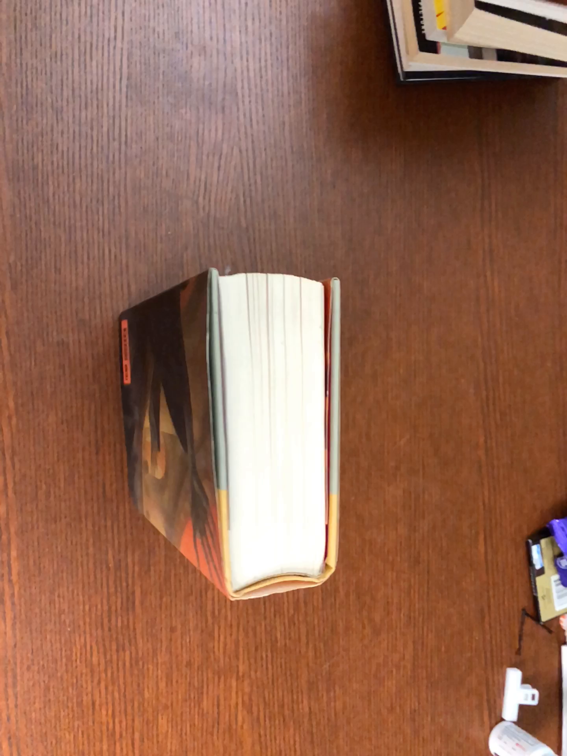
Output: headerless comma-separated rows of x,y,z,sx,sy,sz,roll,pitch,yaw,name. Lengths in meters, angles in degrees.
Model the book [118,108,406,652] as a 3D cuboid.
-0.042,0.000,0.393,0.070,0.300,0.210,1,90,-24,book
